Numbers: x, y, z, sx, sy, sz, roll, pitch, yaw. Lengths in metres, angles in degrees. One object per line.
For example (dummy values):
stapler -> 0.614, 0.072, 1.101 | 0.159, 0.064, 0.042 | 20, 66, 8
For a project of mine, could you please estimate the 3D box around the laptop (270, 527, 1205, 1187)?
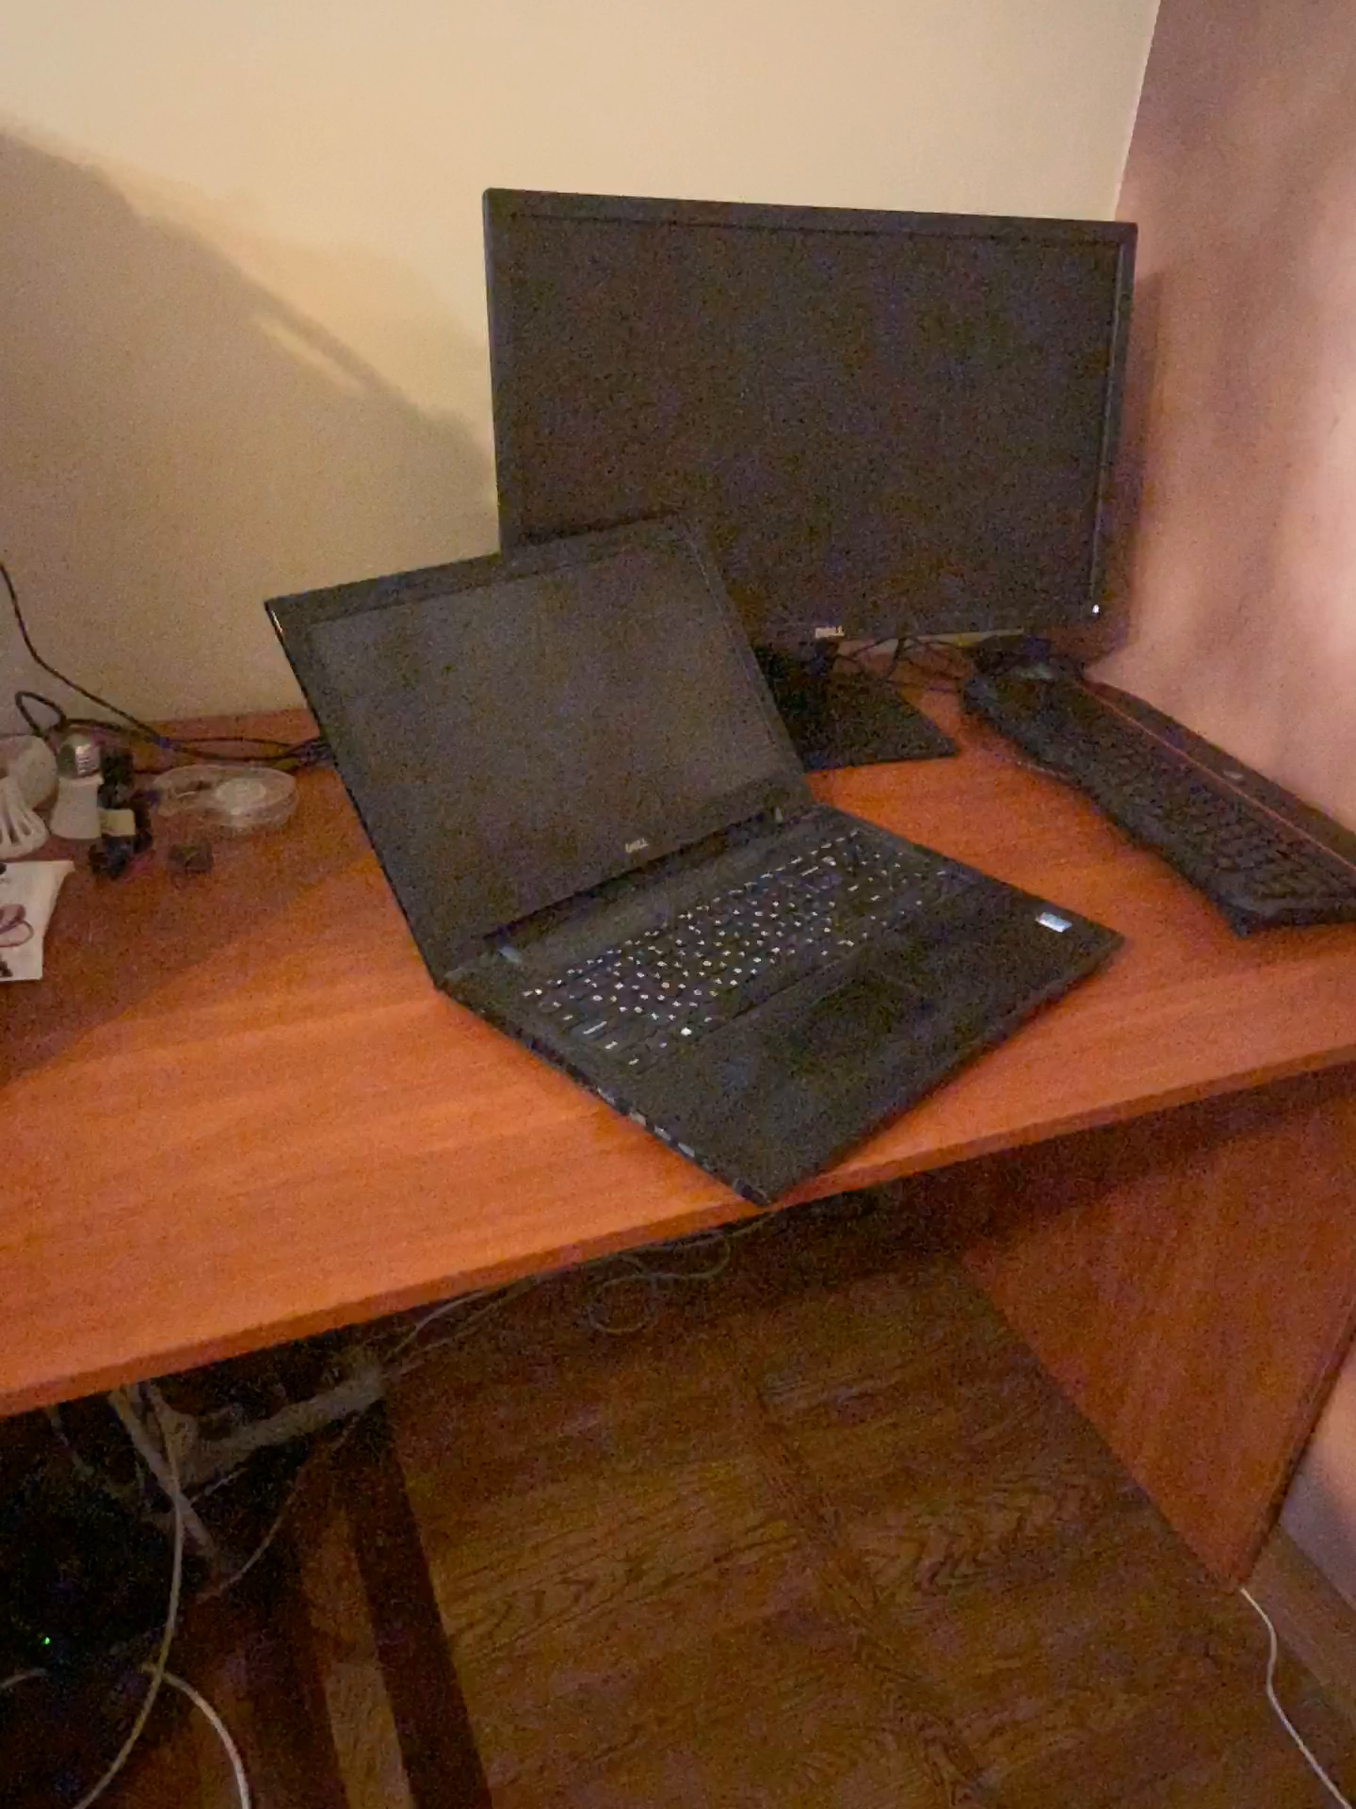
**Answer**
laptop -> 0.028, -0.074, 0.827 | 0.393, 0.181, 0.357 | 27, 36, 36
